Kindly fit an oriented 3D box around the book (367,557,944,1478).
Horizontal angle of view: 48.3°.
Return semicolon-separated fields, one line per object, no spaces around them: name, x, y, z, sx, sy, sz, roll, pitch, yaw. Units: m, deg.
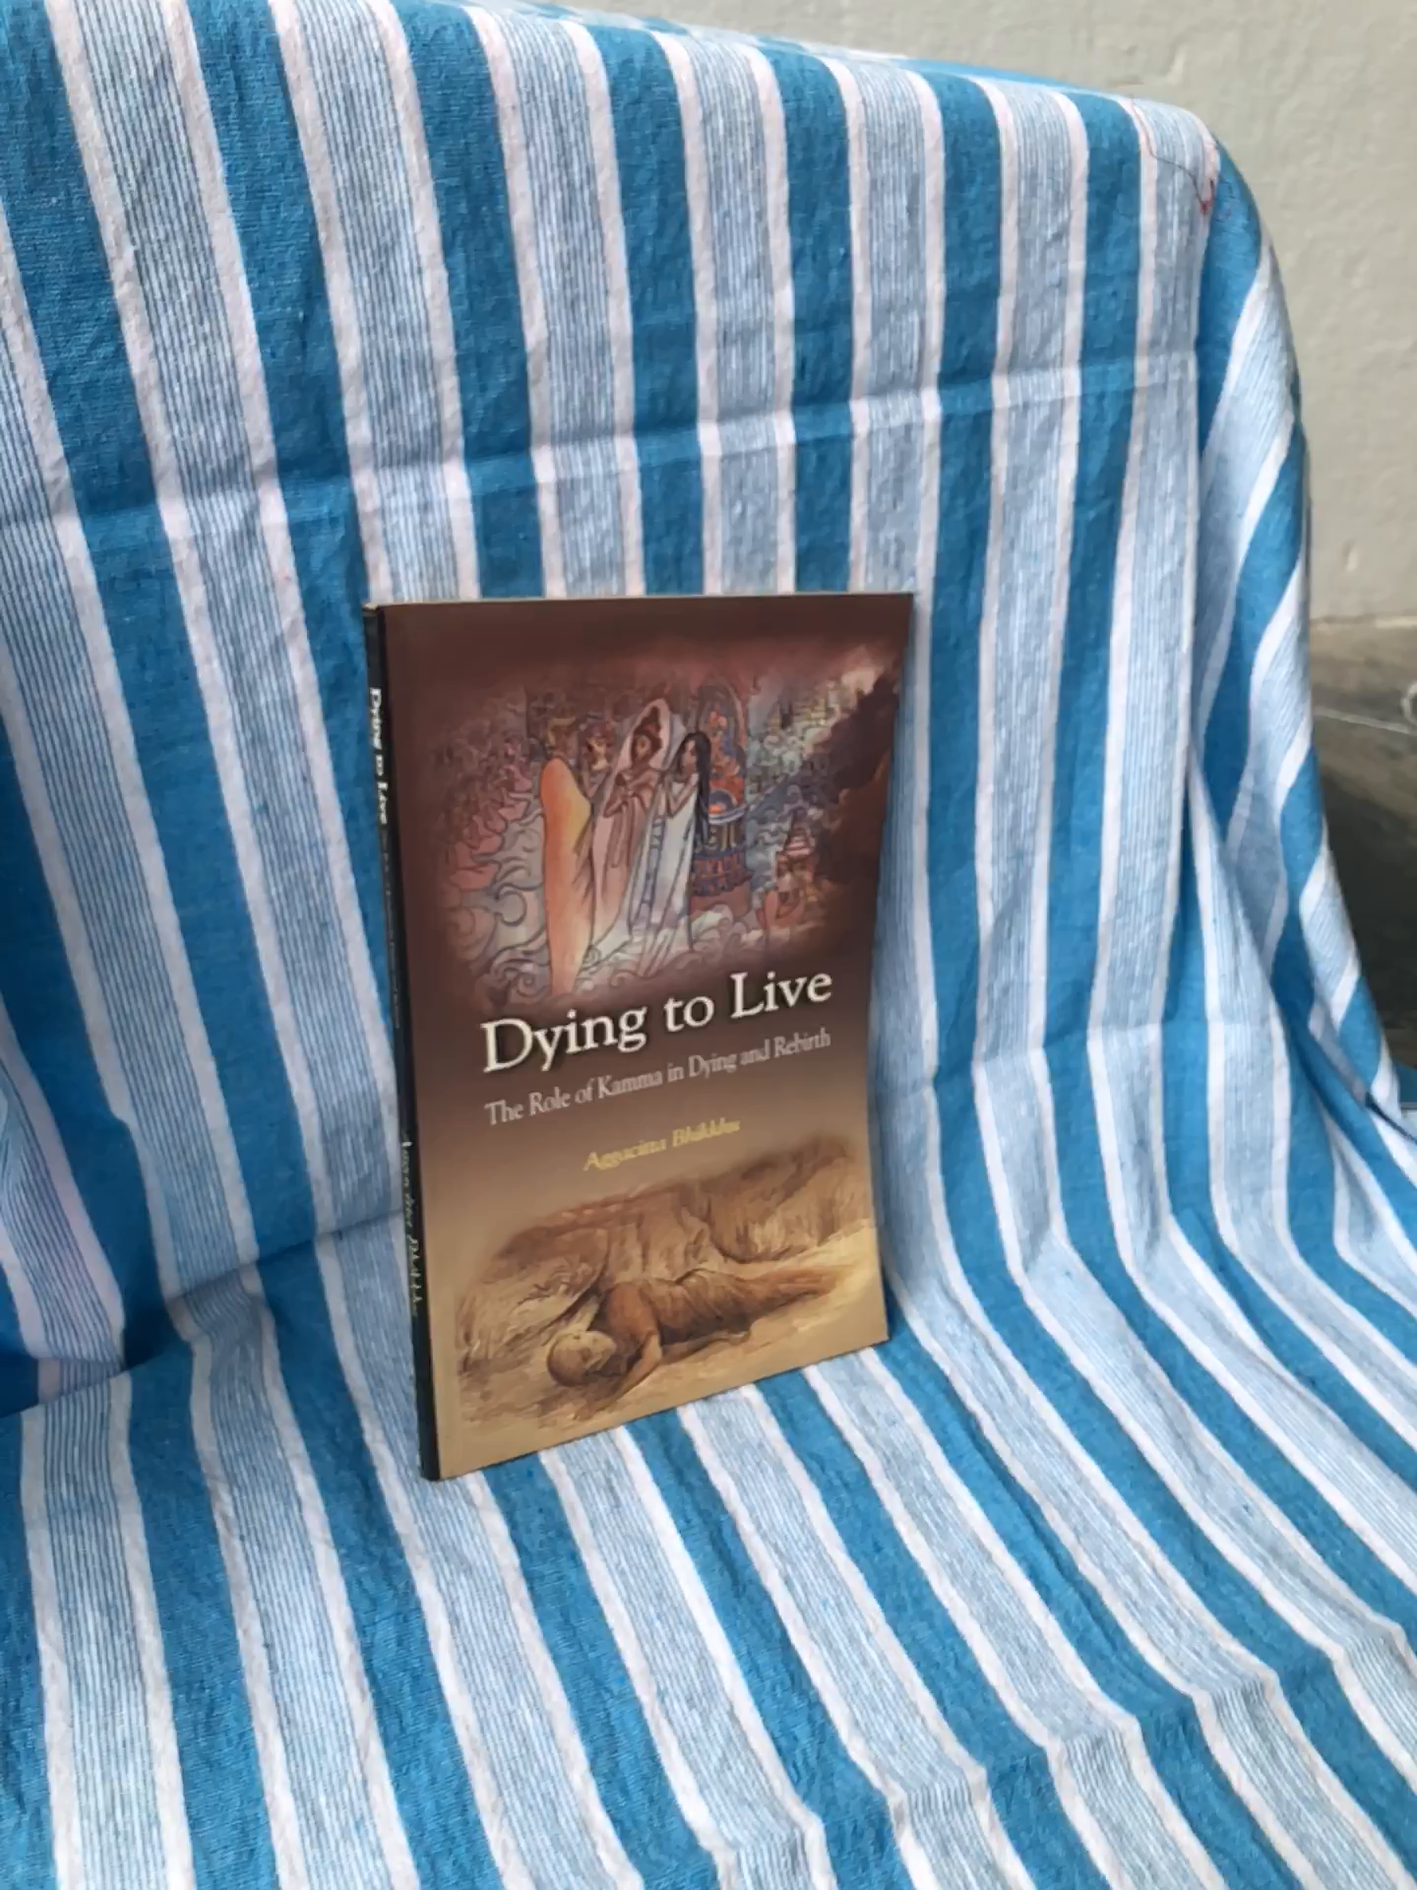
book;-0.006;0.012;0.400;0.150;0.210;0.020;-7;12;-32
